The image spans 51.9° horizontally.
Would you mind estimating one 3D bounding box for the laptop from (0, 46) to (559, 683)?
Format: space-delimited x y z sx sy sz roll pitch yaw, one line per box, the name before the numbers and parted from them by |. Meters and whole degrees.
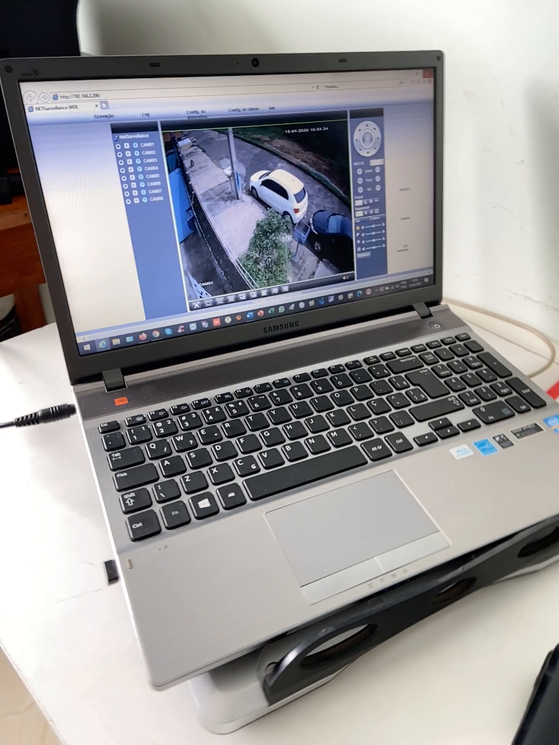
laptop | 0.033 -0.070 0.408 0.368 0.213 0.336 -13 43 -21
